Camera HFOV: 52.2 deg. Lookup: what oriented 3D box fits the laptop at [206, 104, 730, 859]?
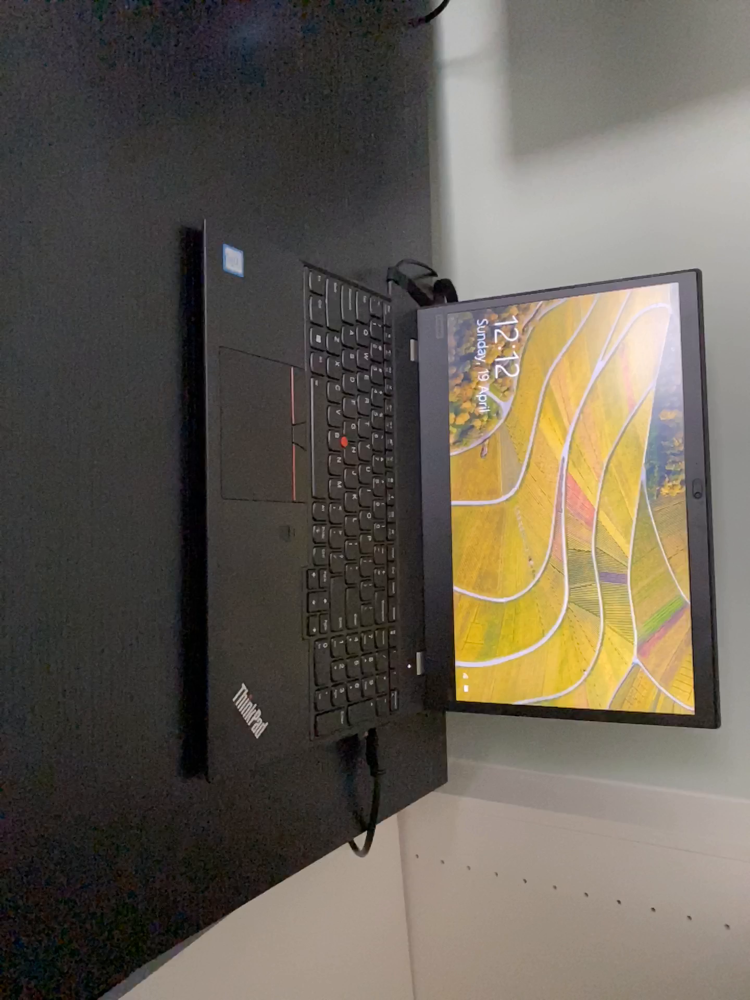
[{"bbox_3d":[0.080,-0.002,0.535,0.295,0.231,0.351,5,83,-55],"label":"laptop"}]
